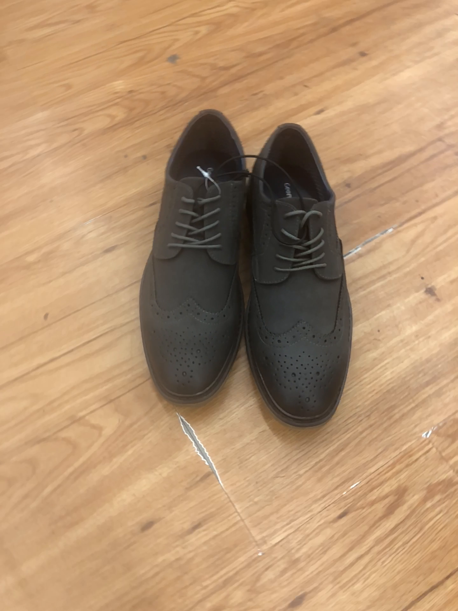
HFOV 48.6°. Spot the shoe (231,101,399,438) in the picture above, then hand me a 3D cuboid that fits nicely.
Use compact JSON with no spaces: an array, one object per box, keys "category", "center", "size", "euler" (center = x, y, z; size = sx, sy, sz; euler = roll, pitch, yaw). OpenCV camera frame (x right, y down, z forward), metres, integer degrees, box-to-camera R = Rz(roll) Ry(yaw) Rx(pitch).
[{"category":"shoe","center":[0.057,-0.037,0.449],"size":[0.110,0.110,0.280],"euler":[0,63,0]}]

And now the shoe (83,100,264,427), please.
[{"category":"shoe","center":[-0.036,-0.045,0.473],"size":[0.110,0.110,0.280],"euler":[5,63,2]}]
